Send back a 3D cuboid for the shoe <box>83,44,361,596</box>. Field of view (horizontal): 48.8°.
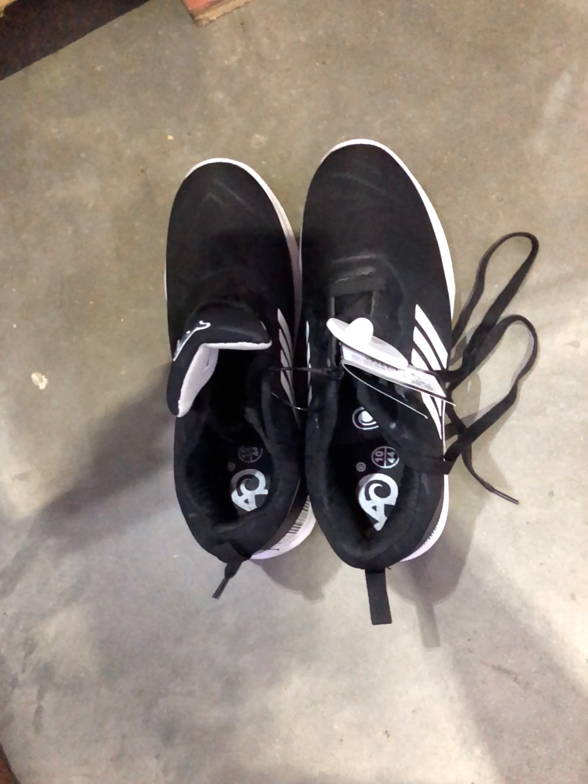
[{"bbox_3d":[-0.047,-0.043,0.461,0.120,0.130,0.330,-11,79,12],"label":"shoe"}]

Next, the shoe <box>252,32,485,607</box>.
[{"bbox_3d":[0.050,-0.038,0.425,0.110,0.130,0.320,-5,81,13],"label":"shoe"}]
